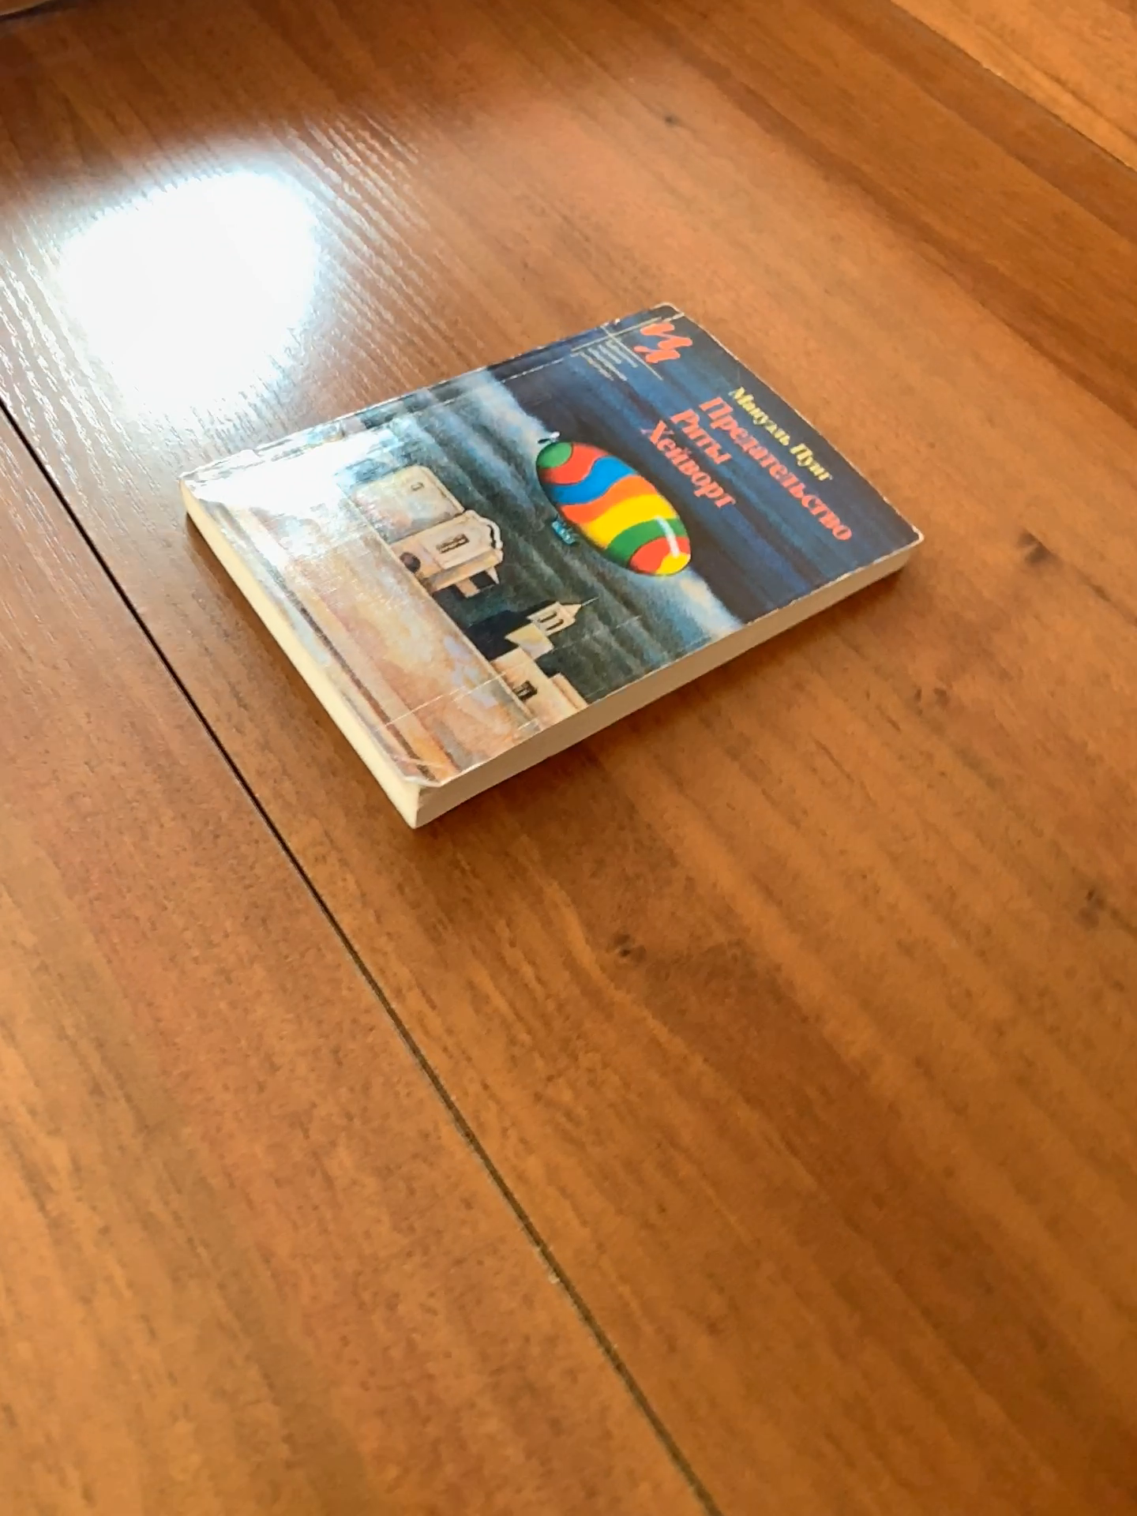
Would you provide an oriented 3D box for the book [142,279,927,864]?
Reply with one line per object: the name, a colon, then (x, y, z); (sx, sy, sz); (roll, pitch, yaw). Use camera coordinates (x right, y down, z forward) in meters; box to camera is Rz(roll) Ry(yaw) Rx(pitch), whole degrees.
book: (-0.006, -0.060, 0.301); (0.158, 0.016, 0.121); (-29, 66, -25)
